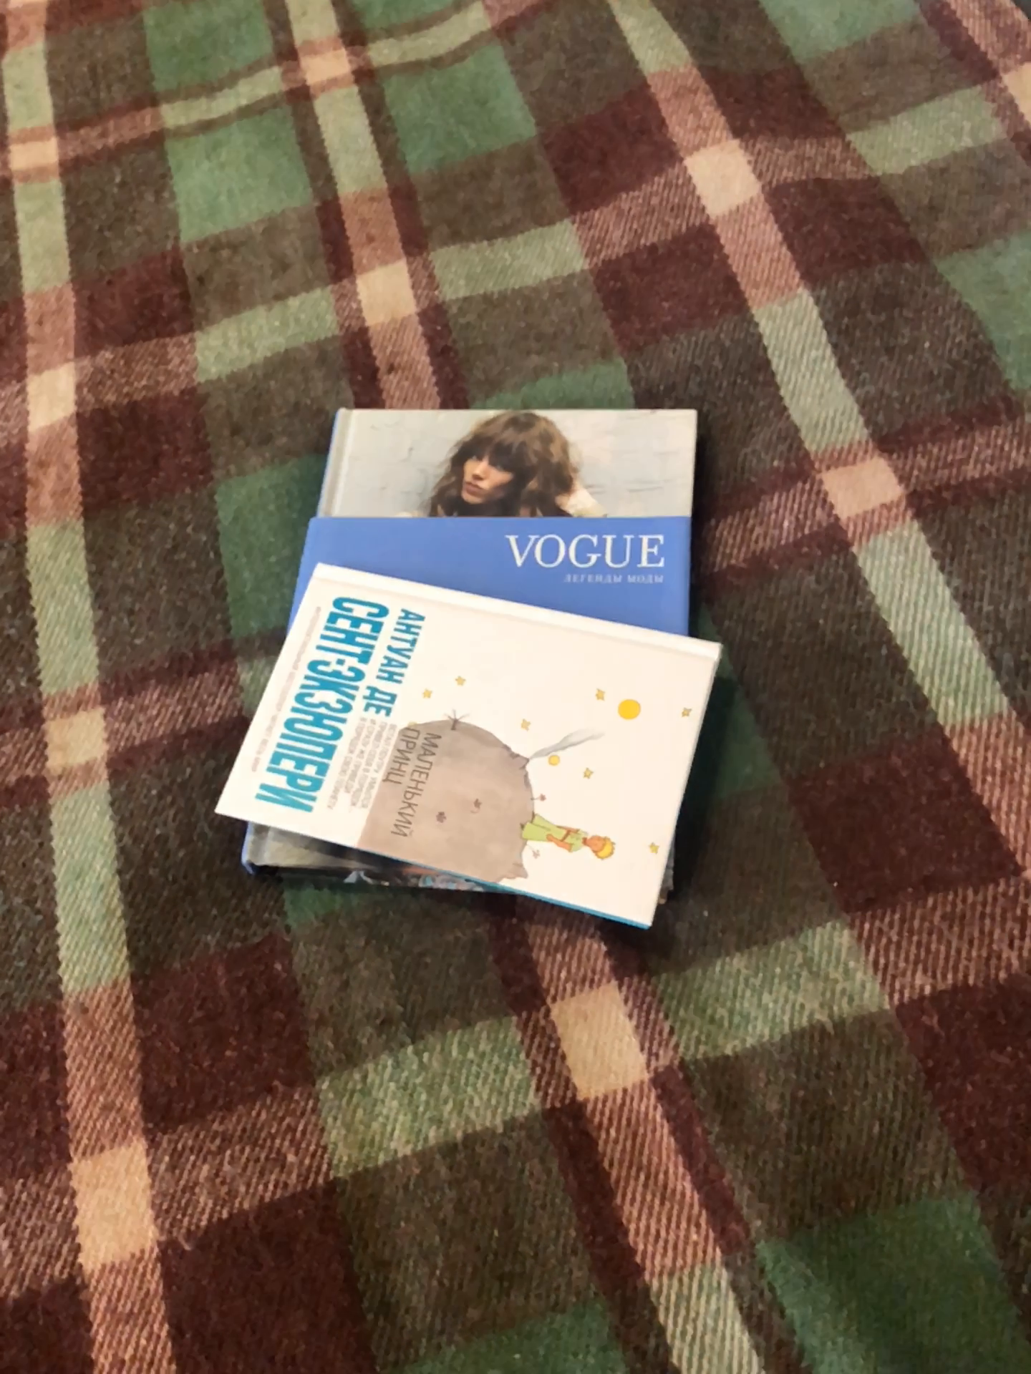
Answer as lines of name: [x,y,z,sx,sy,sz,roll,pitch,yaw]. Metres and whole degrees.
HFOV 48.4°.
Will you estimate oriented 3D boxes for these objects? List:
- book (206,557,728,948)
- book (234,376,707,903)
book: [-0.016,0.019,0.437,0.170,0.014,0.119,12,65,13]
book: [-0.009,-0.033,0.494,0.174,0.024,0.240,2,63,8]
